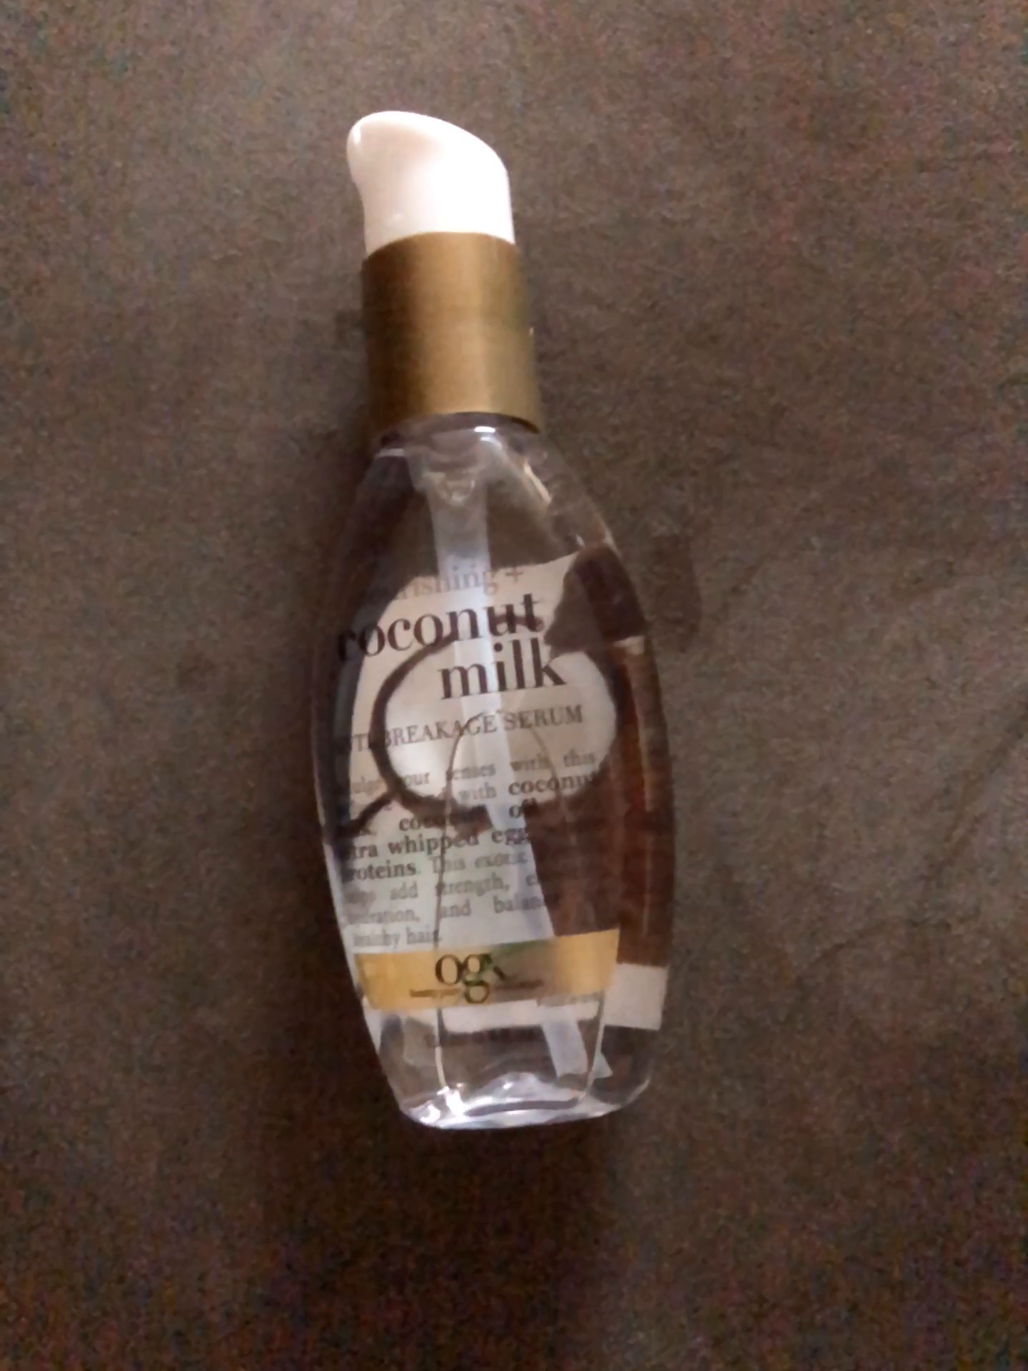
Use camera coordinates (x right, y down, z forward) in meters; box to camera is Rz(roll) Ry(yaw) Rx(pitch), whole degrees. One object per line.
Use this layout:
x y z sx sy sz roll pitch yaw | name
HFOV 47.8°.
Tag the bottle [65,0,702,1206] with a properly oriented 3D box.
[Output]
-0.019 -0.017 0.179 0.070 0.040 0.170 -7 85 6 | bottle
